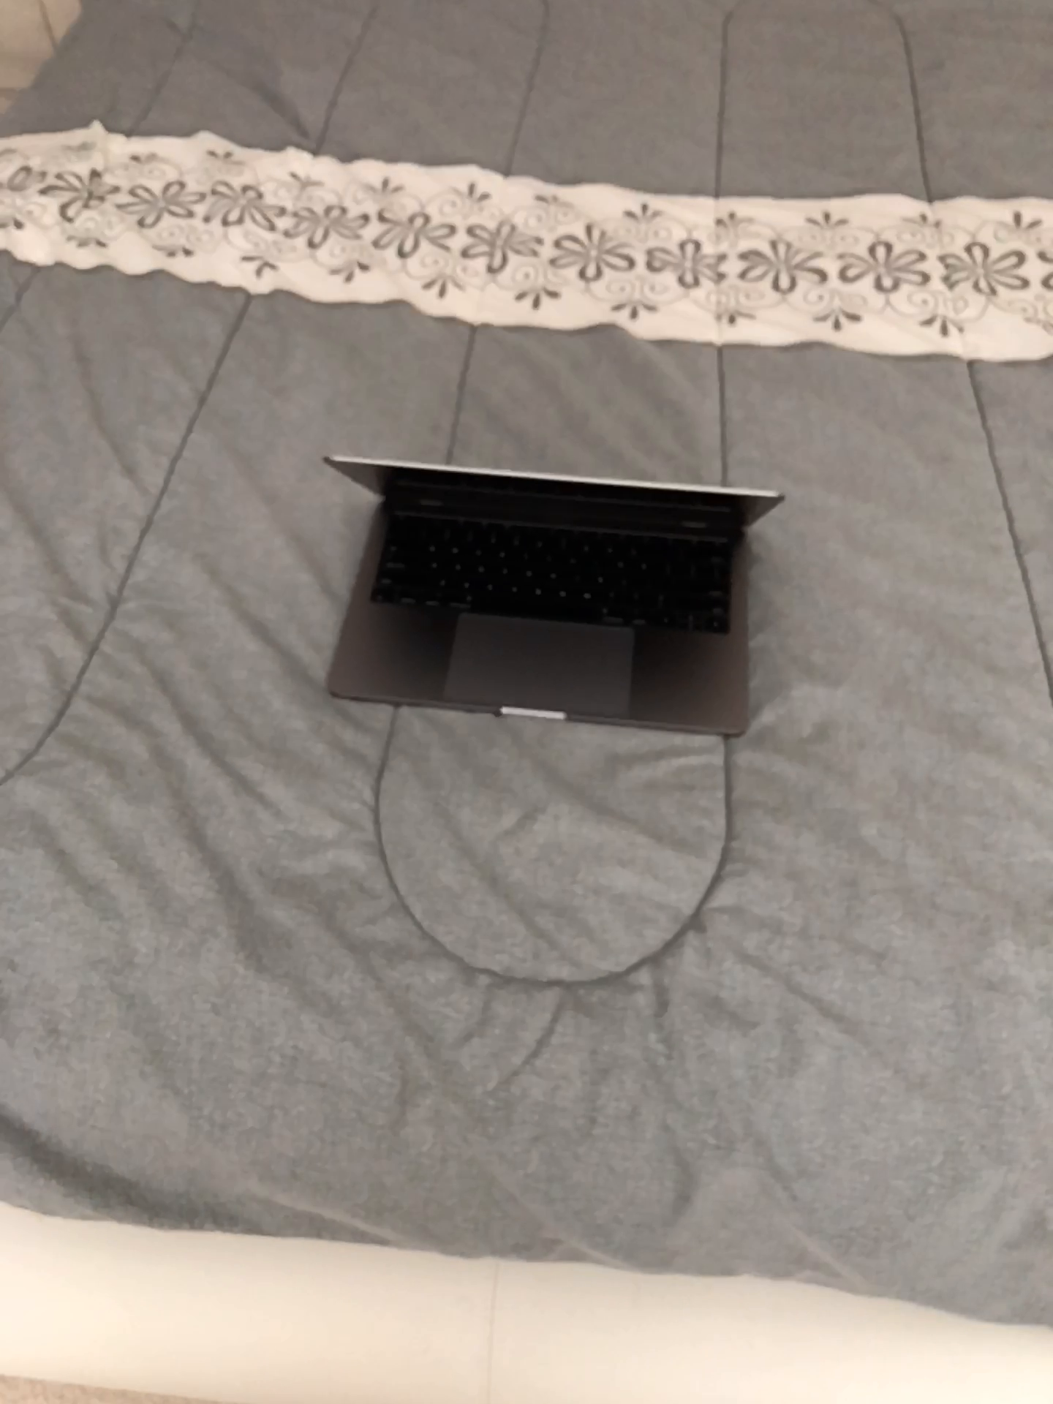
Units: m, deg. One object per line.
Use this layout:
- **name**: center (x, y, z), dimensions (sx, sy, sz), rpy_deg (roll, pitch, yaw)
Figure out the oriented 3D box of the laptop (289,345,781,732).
- **laptop**: center (0.014, -0.111, 0.772), dimensions (0.278, 0.140, 0.195), rpy_deg (5, 51, 5)
